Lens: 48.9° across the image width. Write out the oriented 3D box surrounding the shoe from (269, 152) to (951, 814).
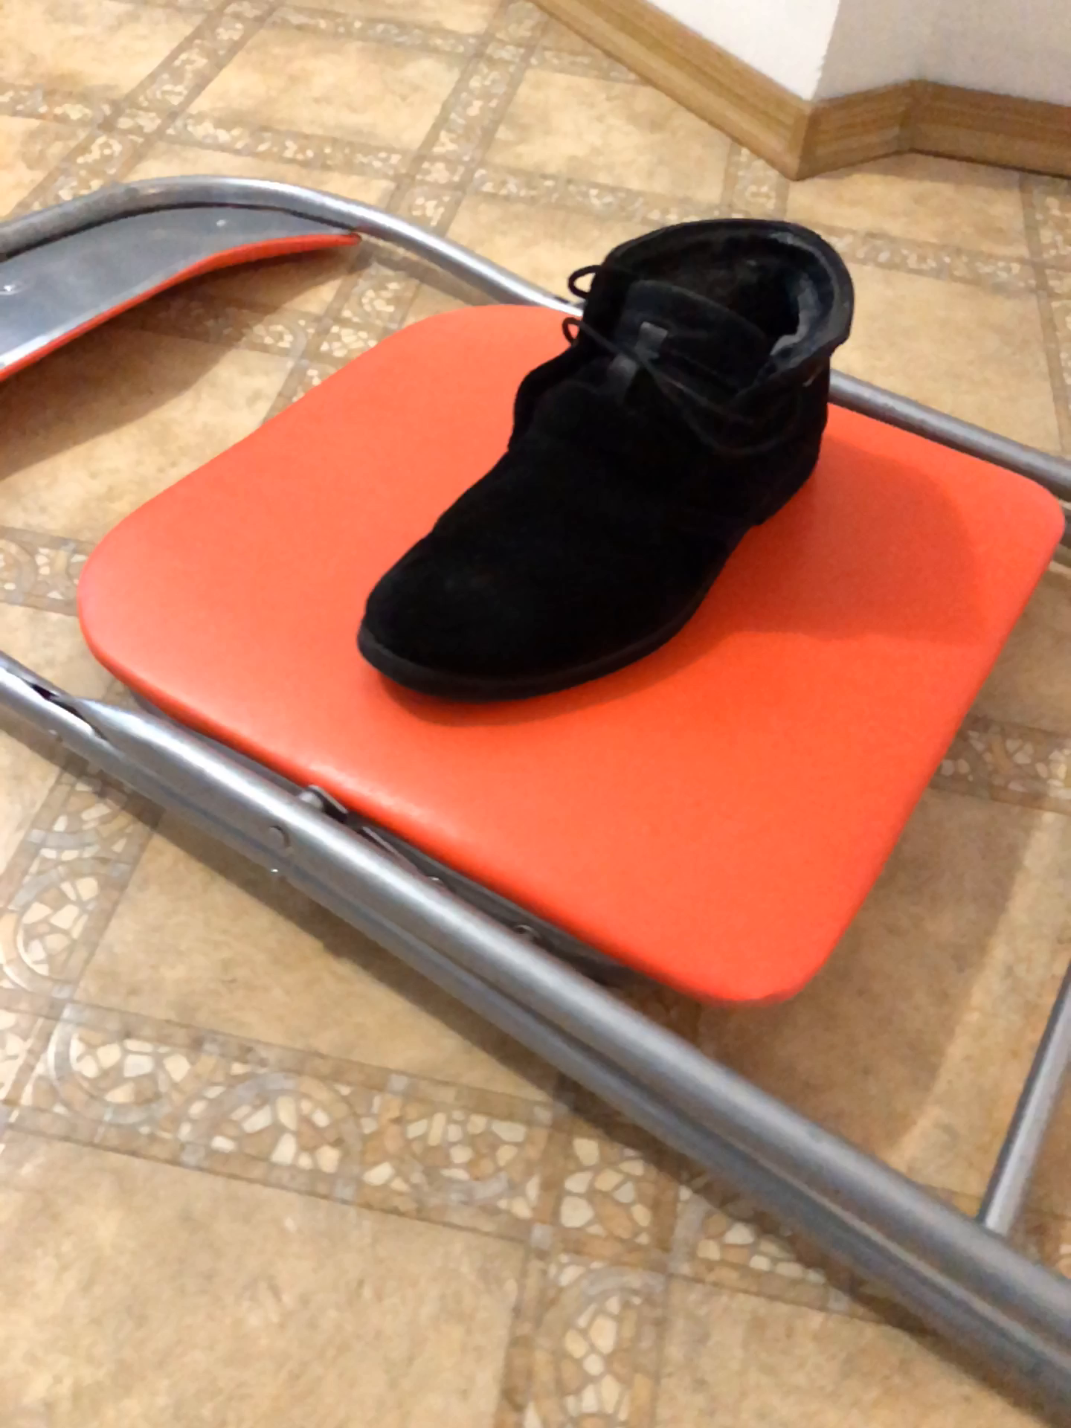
[{"bbox_3d":[0.037,-0.107,0.487,0.110,0.129,0.271,36,55,22],"label":"shoe"}]
